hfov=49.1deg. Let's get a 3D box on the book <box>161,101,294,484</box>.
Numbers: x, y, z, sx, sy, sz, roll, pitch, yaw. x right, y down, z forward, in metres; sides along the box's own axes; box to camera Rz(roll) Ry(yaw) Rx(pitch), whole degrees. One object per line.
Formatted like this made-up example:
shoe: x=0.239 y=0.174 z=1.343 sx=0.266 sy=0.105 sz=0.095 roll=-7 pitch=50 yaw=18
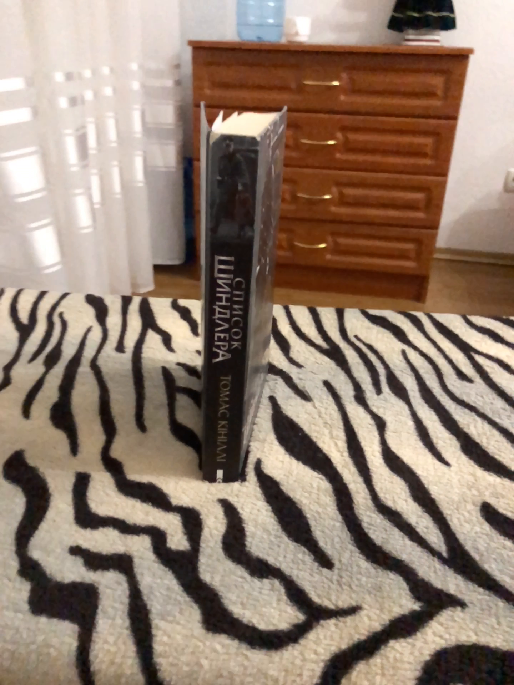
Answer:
book: x=-0.012 y=-0.038 z=0.348 sx=0.057 sy=0.191 sz=0.145 roll=4 pitch=28 yaw=2
